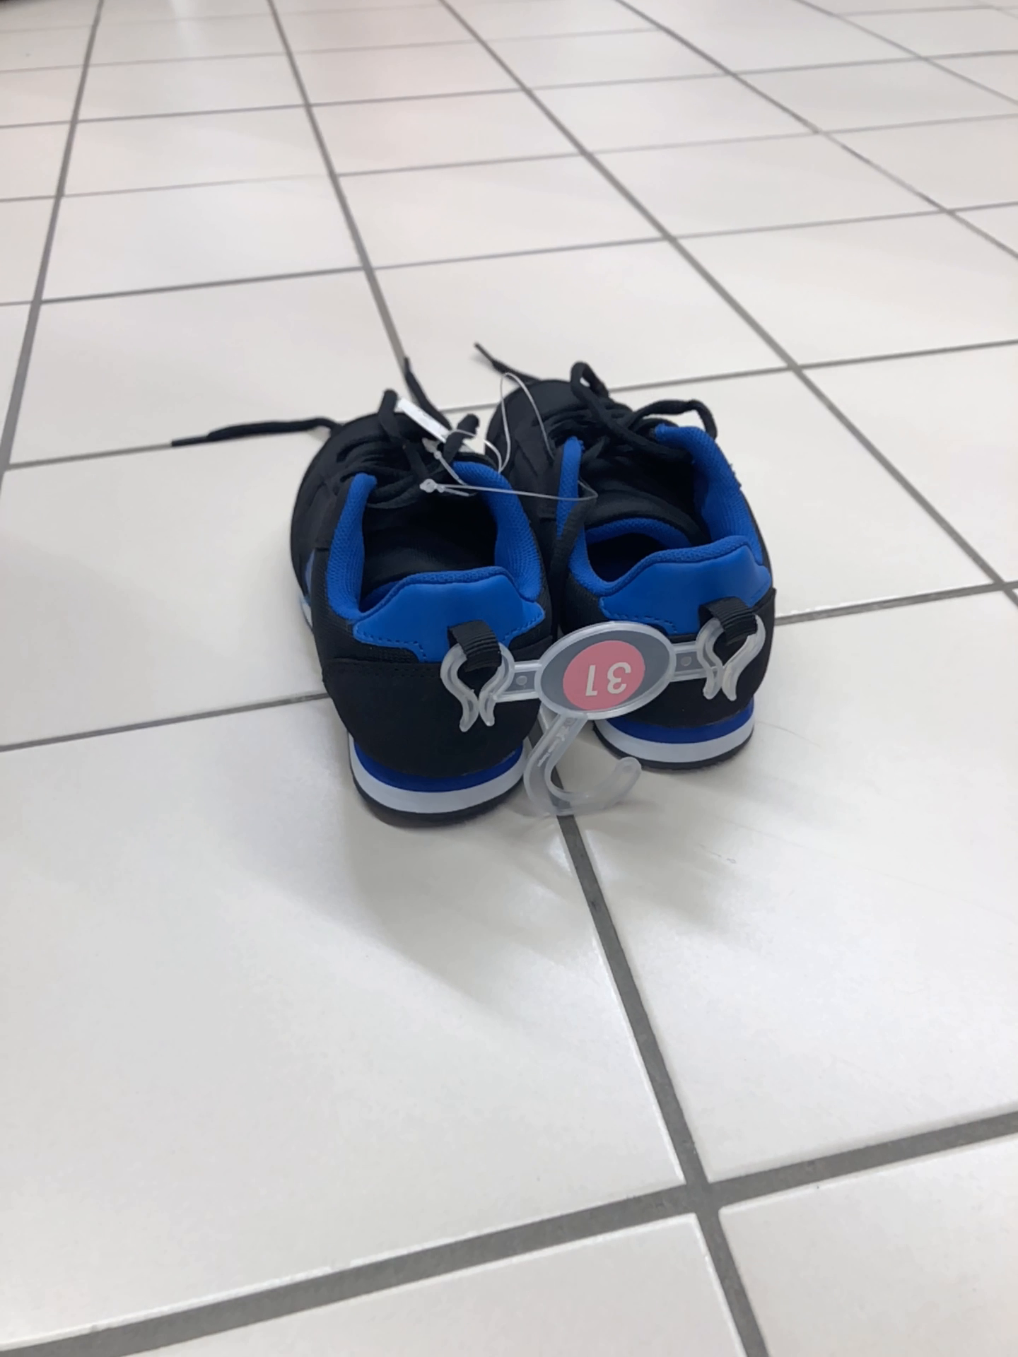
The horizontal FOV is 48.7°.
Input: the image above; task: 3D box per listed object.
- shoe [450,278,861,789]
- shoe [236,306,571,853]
[{"bbox_3d":[0.039,-0.067,0.418,0.076,0.082,0.208,-10,41,-10],"label":"shoe"},{"bbox_3d":[-0.045,-0.049,0.401,0.076,0.082,0.208,-10,41,-10],"label":"shoe"}]
